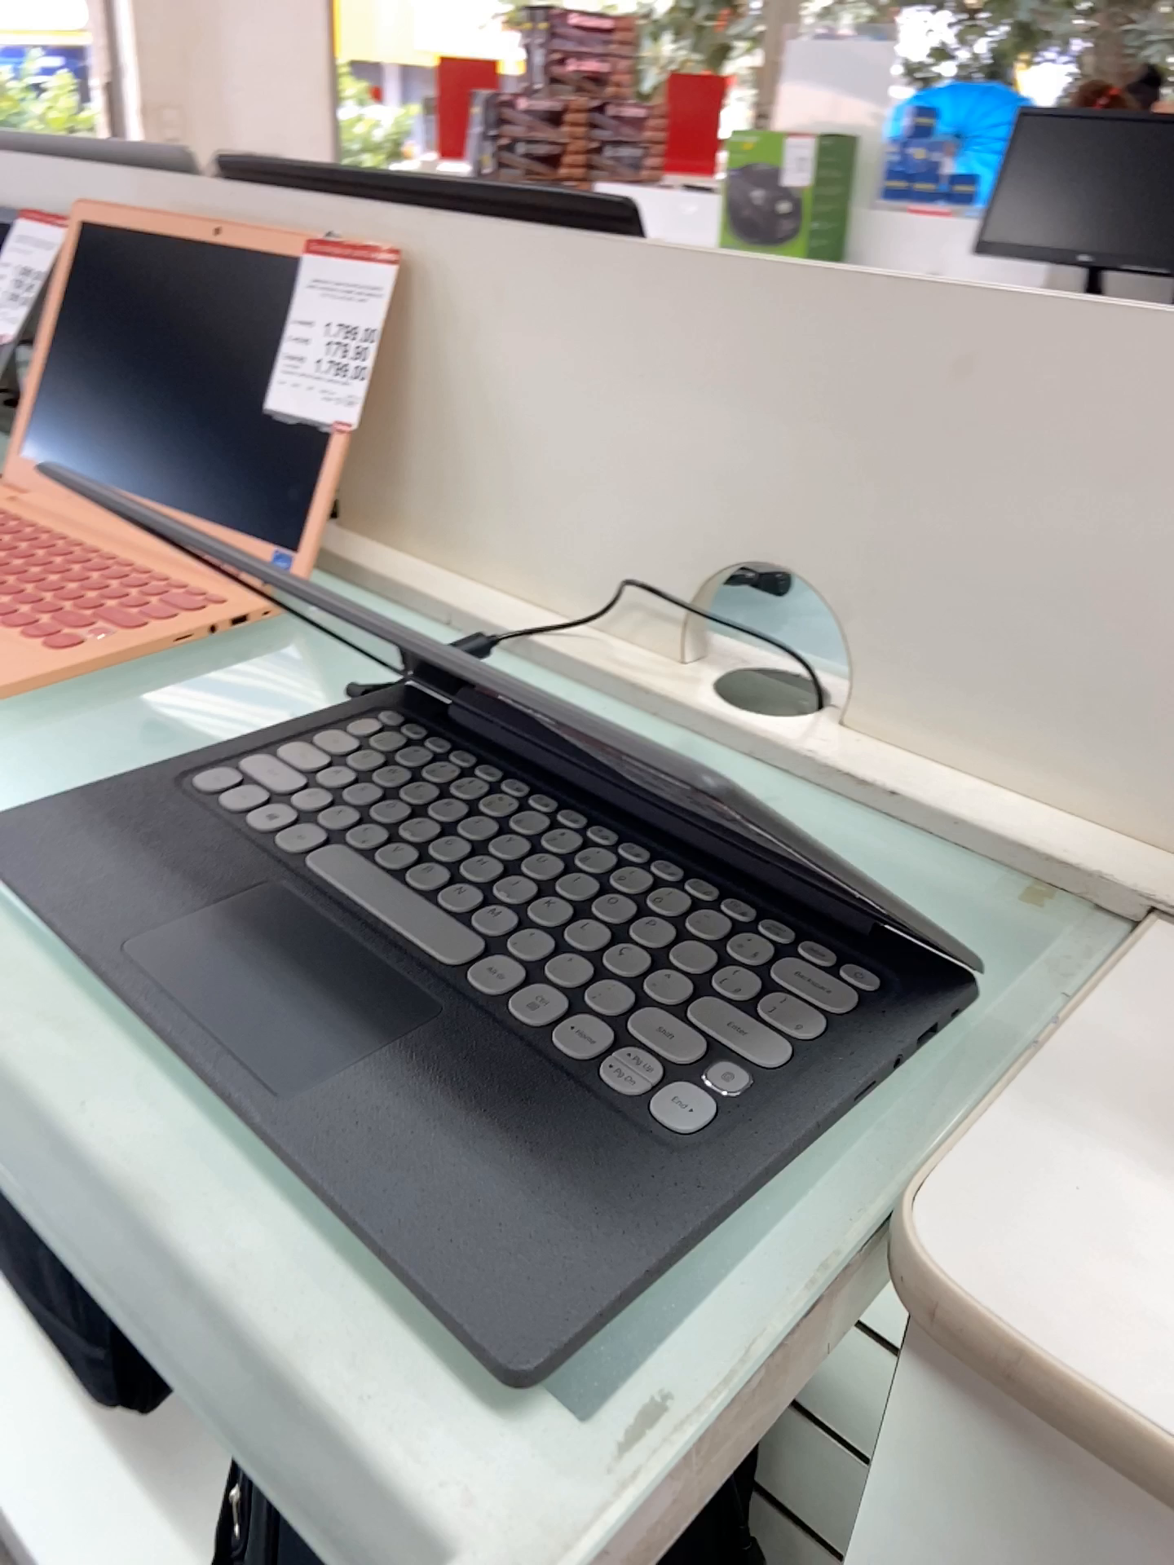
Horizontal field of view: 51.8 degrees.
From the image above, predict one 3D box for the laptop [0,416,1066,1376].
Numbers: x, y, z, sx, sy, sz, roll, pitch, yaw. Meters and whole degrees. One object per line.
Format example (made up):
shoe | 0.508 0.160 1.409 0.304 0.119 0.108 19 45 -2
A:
laptop | -0.052 -0.015 0.405 0.317 0.132 0.212 27 36 37
